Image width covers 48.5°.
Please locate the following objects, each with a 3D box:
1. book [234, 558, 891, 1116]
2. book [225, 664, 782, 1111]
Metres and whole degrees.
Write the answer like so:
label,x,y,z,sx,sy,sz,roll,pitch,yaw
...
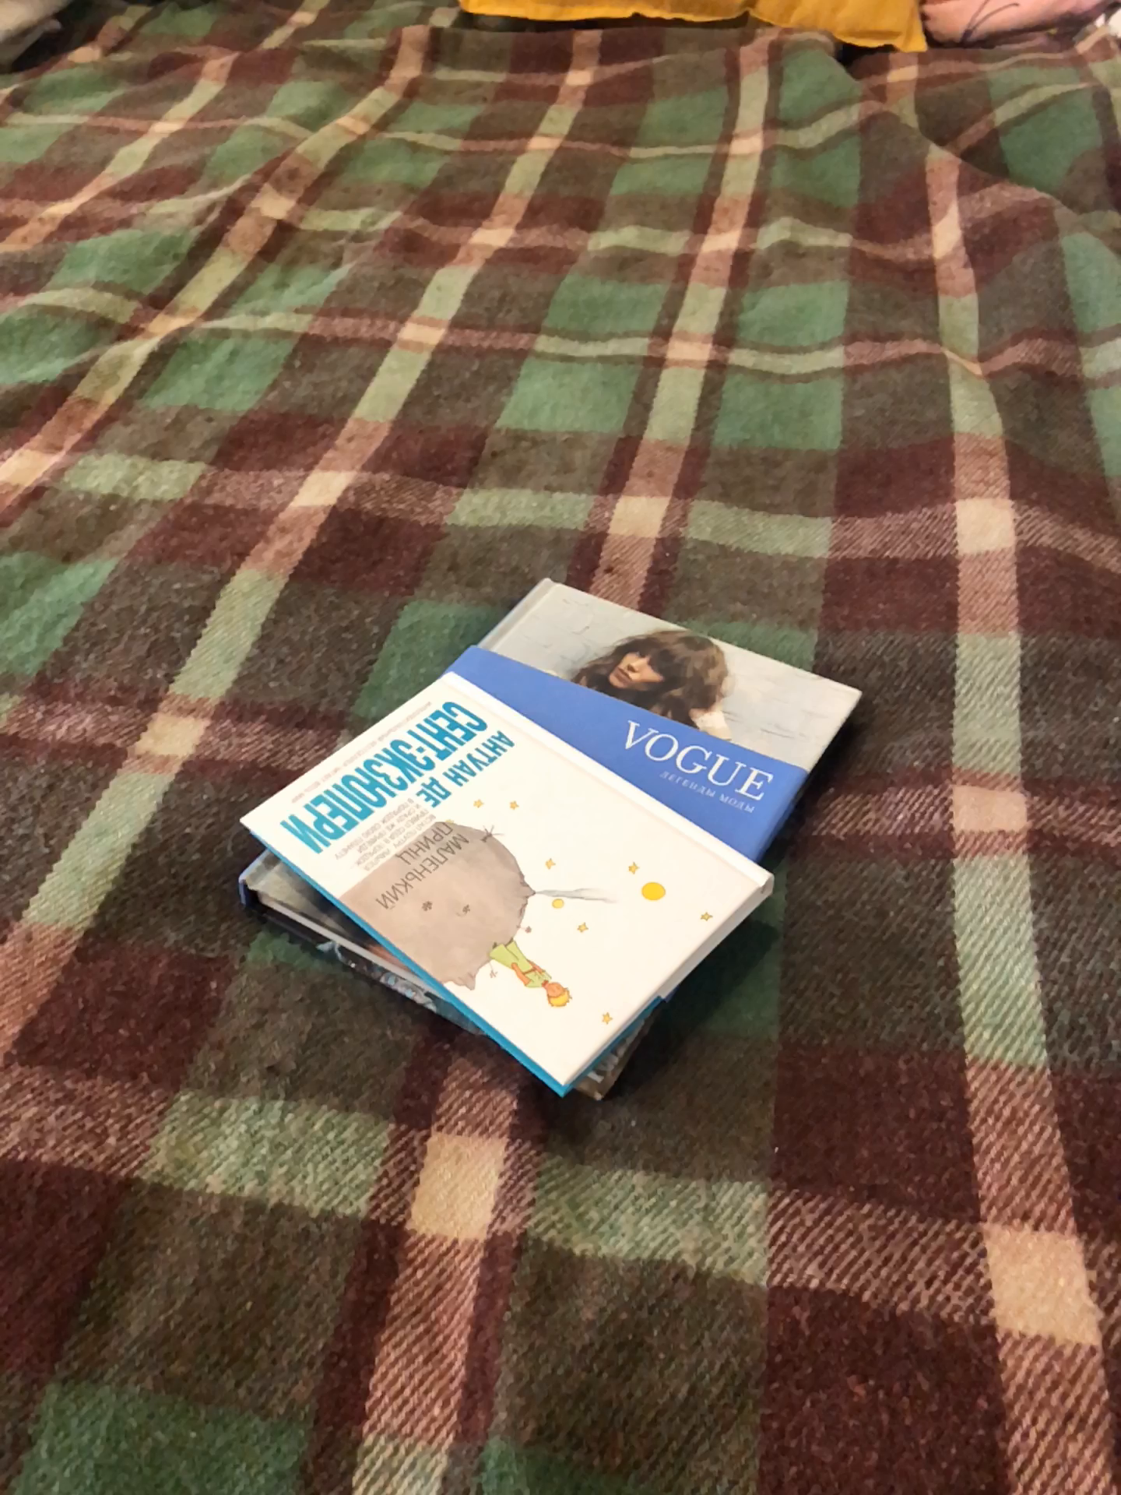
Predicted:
label,x,y,z,sx,sy,sz,roll,pitch,yaw
book,0.012,0.016,0.527,0.174,0.023,0.241,23,49,22
book,-0.023,0.040,0.462,0.170,0.014,0.120,32,53,29
